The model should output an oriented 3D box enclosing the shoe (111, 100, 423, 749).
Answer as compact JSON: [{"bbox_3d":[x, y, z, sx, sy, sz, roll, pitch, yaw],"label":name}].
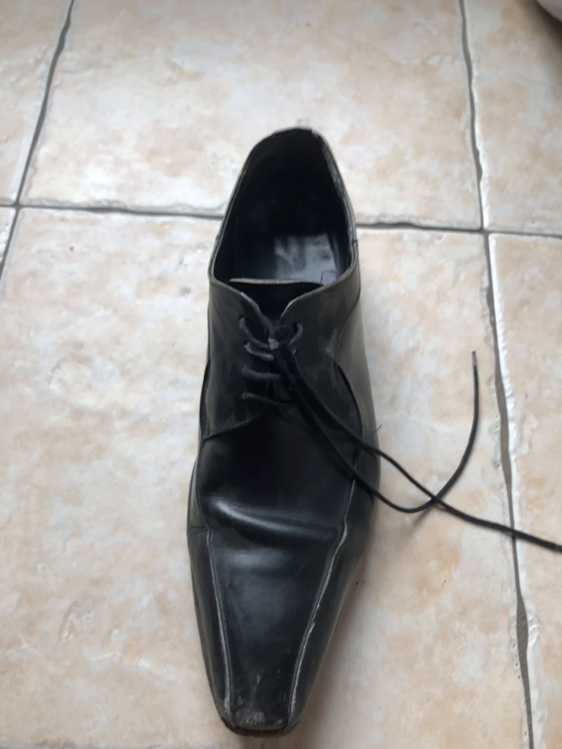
[{"bbox_3d":[0.008,0.013,0.306,0.100,0.090,0.291,5,67,3],"label":"shoe"}]
